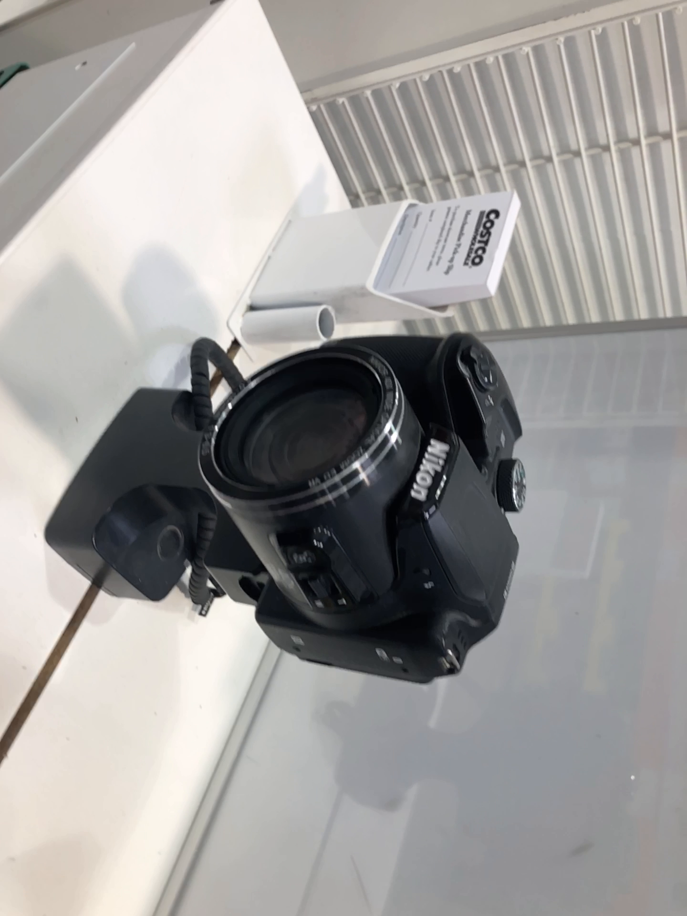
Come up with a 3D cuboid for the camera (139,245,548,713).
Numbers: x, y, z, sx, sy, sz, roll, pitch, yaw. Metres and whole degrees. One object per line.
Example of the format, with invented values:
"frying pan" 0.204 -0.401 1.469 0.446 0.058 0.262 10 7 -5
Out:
"camera" 0.012 0.008 0.269 0.101 0.079 0.116 58 43 -44
